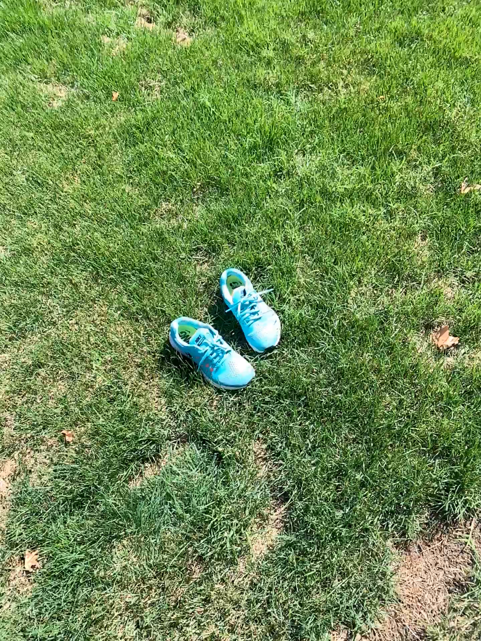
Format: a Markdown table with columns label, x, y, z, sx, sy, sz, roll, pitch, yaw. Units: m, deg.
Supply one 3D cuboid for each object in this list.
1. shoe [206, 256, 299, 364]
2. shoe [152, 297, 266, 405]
| label | x | y | z | sx | sy | sz | roll | pitch | yaw |
| --- | --- | --- | --- | --- | --- | --- | --- | --- | --- |
| shoe | 0.029 | -0.031 | 1.251 | 0.120 | 0.070 | 0.251 | -29 | 61 | -7 |
| shoe | -0.078 | 0.072 | 1.224 | 0.261 | 0.090 | 0.120 | 34 | 69 | 23 |
